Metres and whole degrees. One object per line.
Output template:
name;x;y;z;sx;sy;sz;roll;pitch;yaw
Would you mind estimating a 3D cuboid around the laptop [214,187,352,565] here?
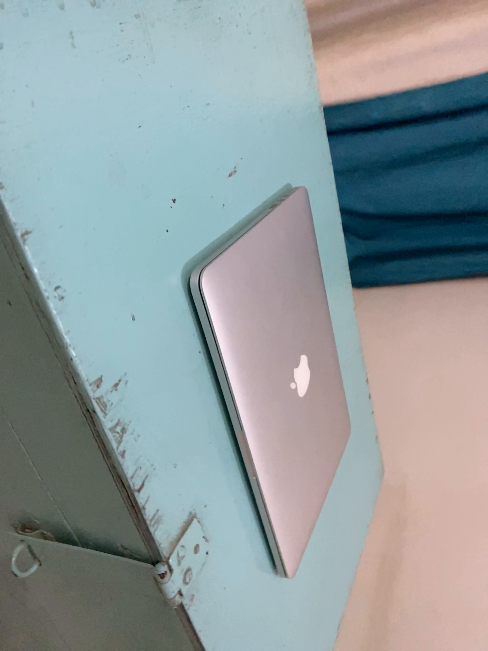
laptop;0.058;0.042;0.473;0.210;0.007;0.292;-54;136;-50
